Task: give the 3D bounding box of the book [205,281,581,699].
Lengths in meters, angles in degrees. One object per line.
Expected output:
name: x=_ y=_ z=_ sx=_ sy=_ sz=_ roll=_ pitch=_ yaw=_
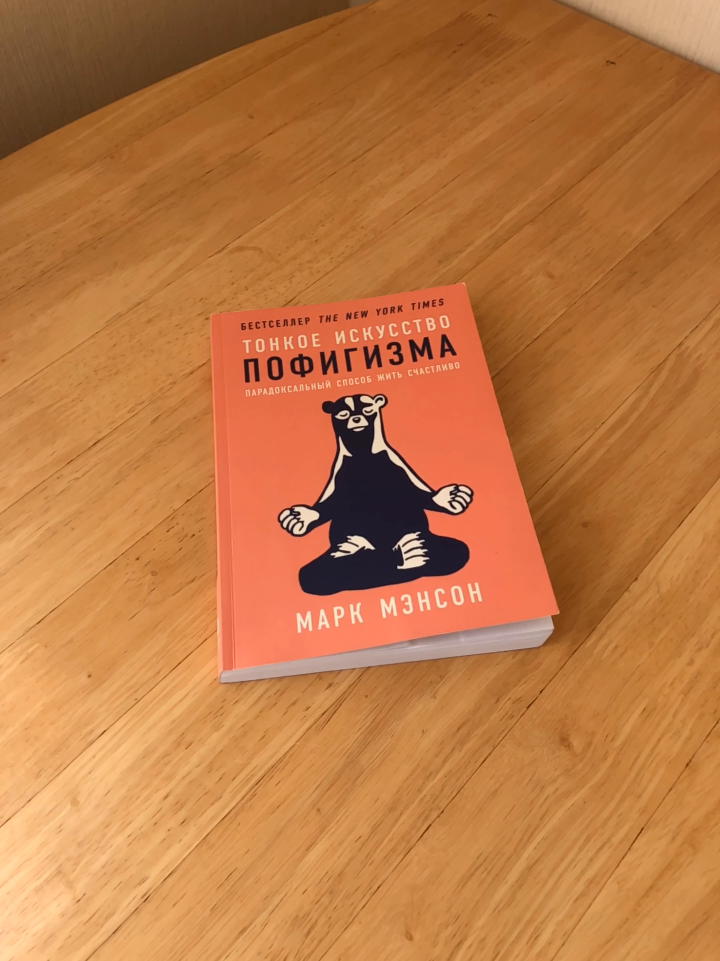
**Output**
book: x=0.004 y=-0.007 z=0.379 sx=0.143 sy=0.033 sz=0.197 roll=-6 pitch=57 yaw=-4
